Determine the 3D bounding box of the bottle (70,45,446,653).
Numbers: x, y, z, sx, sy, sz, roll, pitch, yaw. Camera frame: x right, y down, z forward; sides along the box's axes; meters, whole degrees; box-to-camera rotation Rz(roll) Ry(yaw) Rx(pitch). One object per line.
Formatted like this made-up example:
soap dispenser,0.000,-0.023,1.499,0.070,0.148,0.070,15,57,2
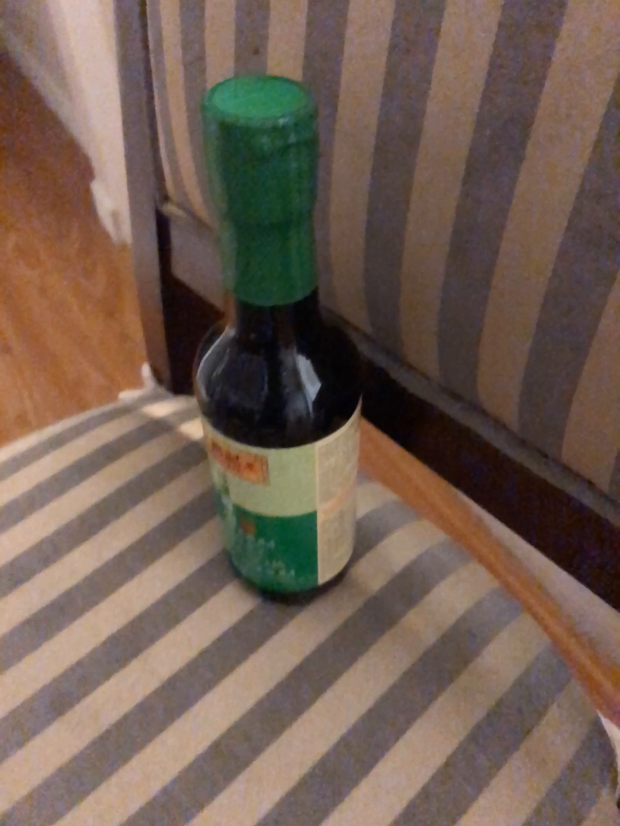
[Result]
bottle,-0.014,-0.005,0.275,0.070,0.228,0.080,-32,54,-25
